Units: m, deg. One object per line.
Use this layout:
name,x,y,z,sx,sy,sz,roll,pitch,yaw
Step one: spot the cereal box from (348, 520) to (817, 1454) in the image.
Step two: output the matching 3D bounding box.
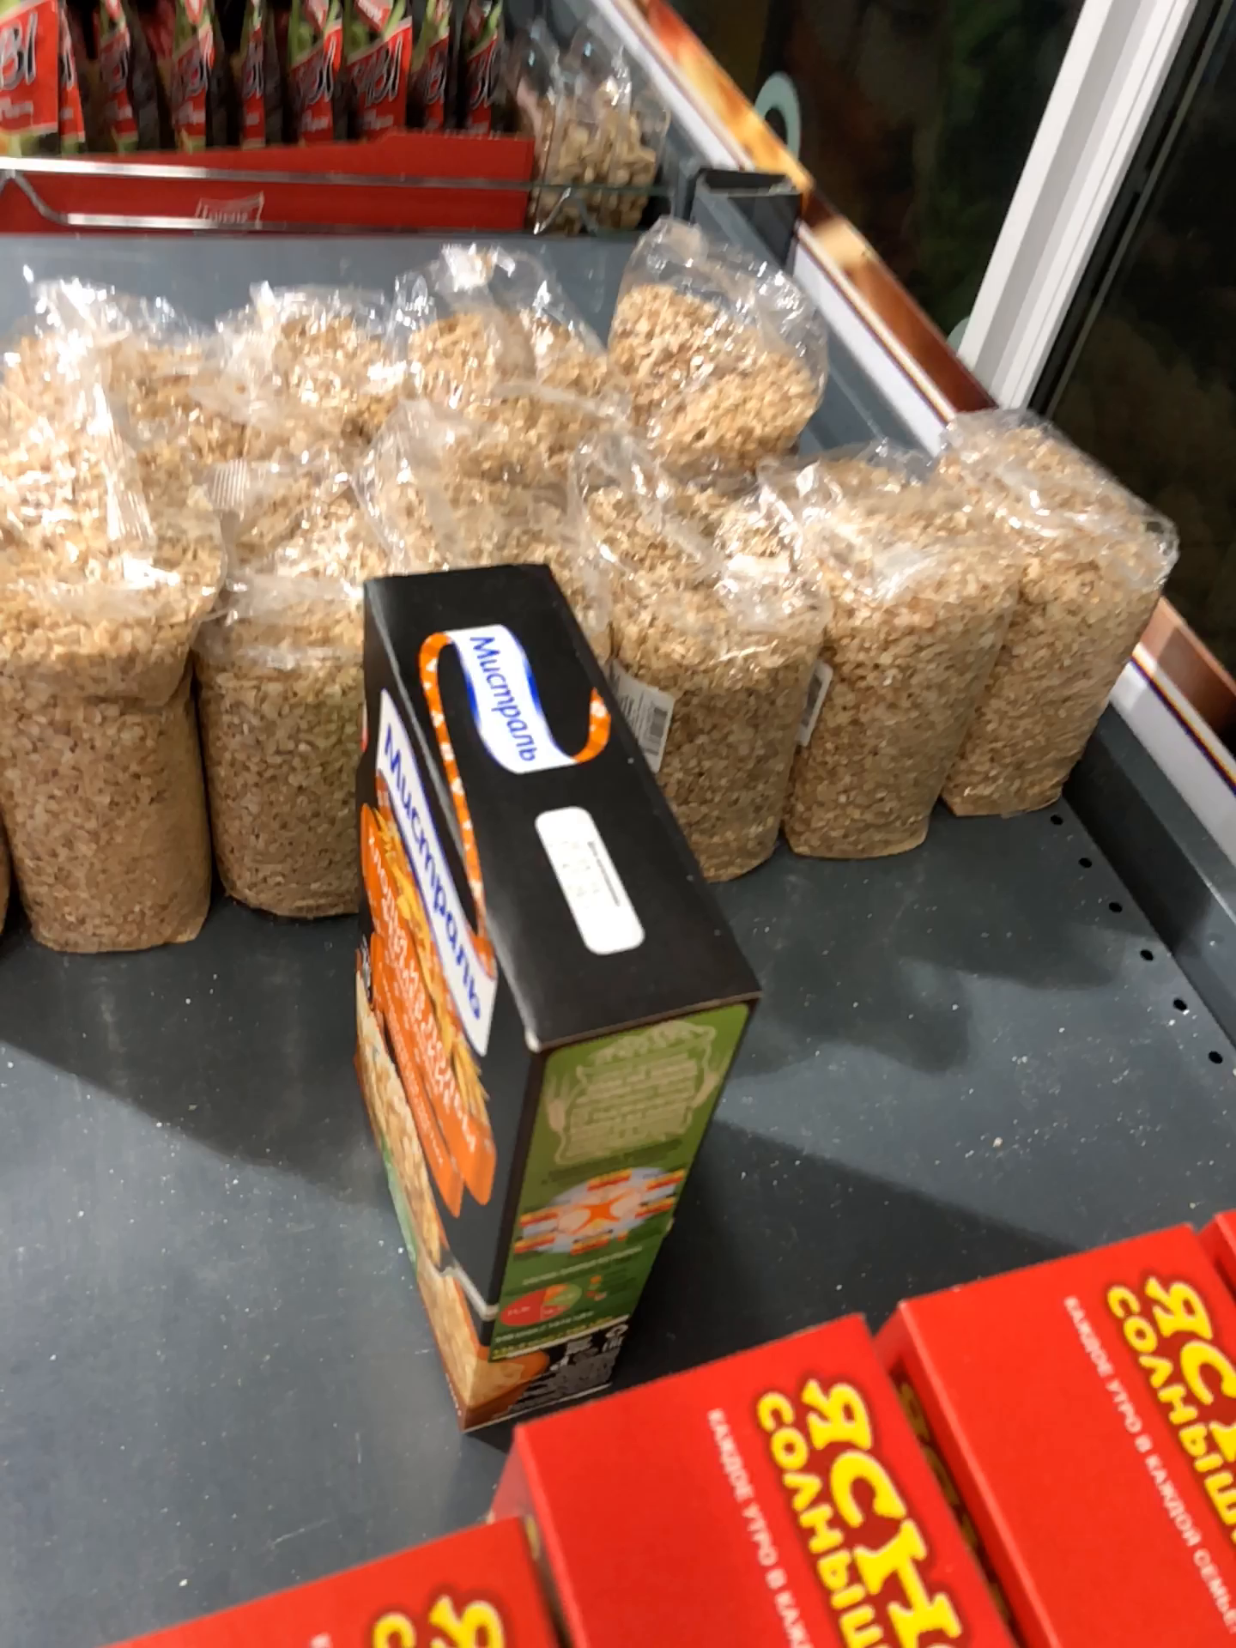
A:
cereal box,-0.028,0.052,0.353,0.050,0.209,0.141,-11,52,-20
